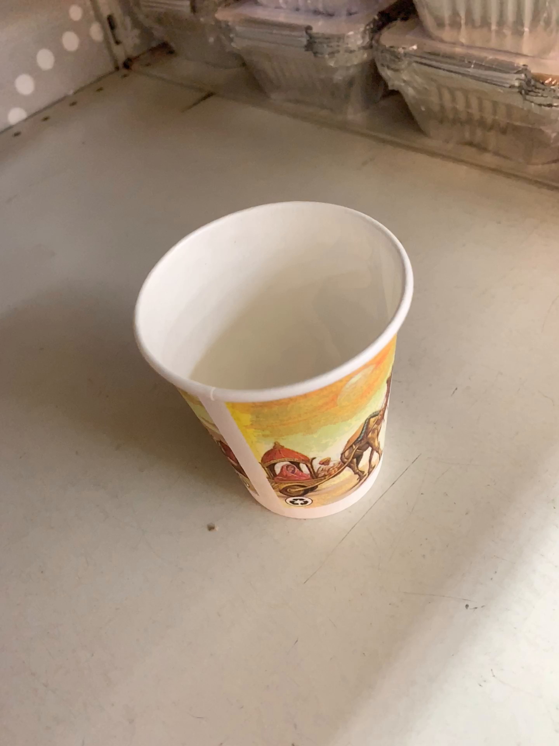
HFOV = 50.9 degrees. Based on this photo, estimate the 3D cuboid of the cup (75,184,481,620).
[{"bbox_3d":[0.005,0.007,0.170,0.070,0.079,0.070,-6,48,7],"label":"cup"}]
